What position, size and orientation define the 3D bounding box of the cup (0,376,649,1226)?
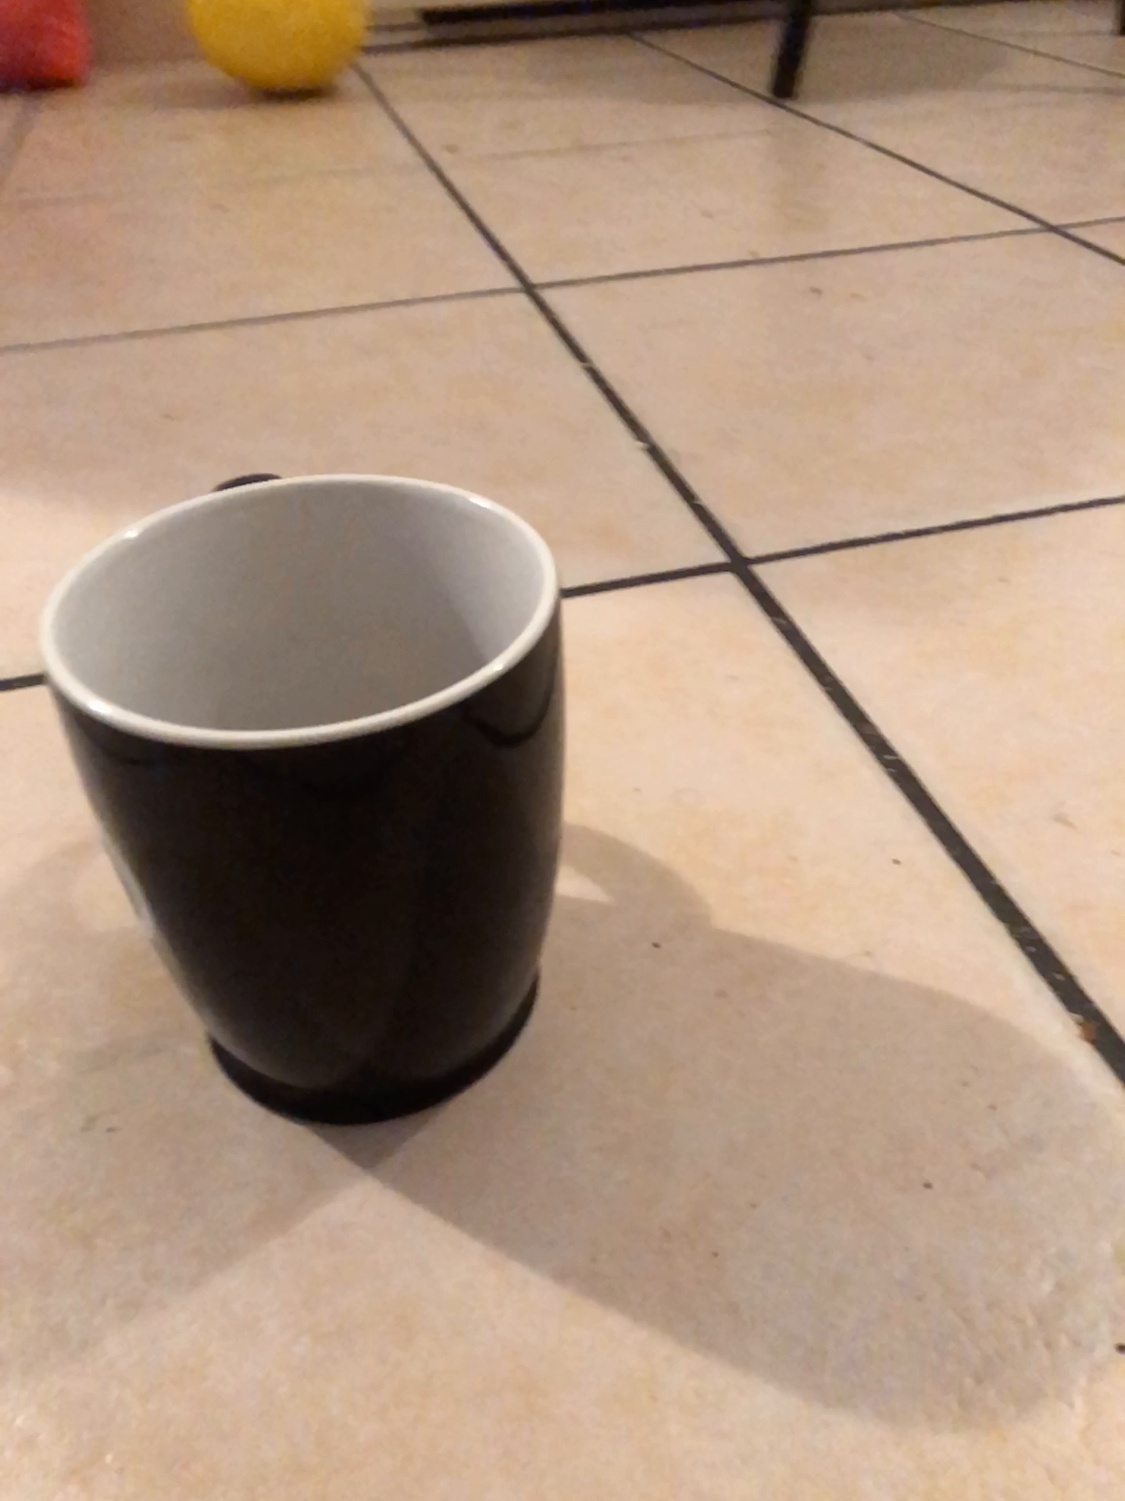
[{"bbox_3d":[-0.055,-0.001,0.270,0.100,0.100,0.141,-13,38,-14],"label":"cup"}]
